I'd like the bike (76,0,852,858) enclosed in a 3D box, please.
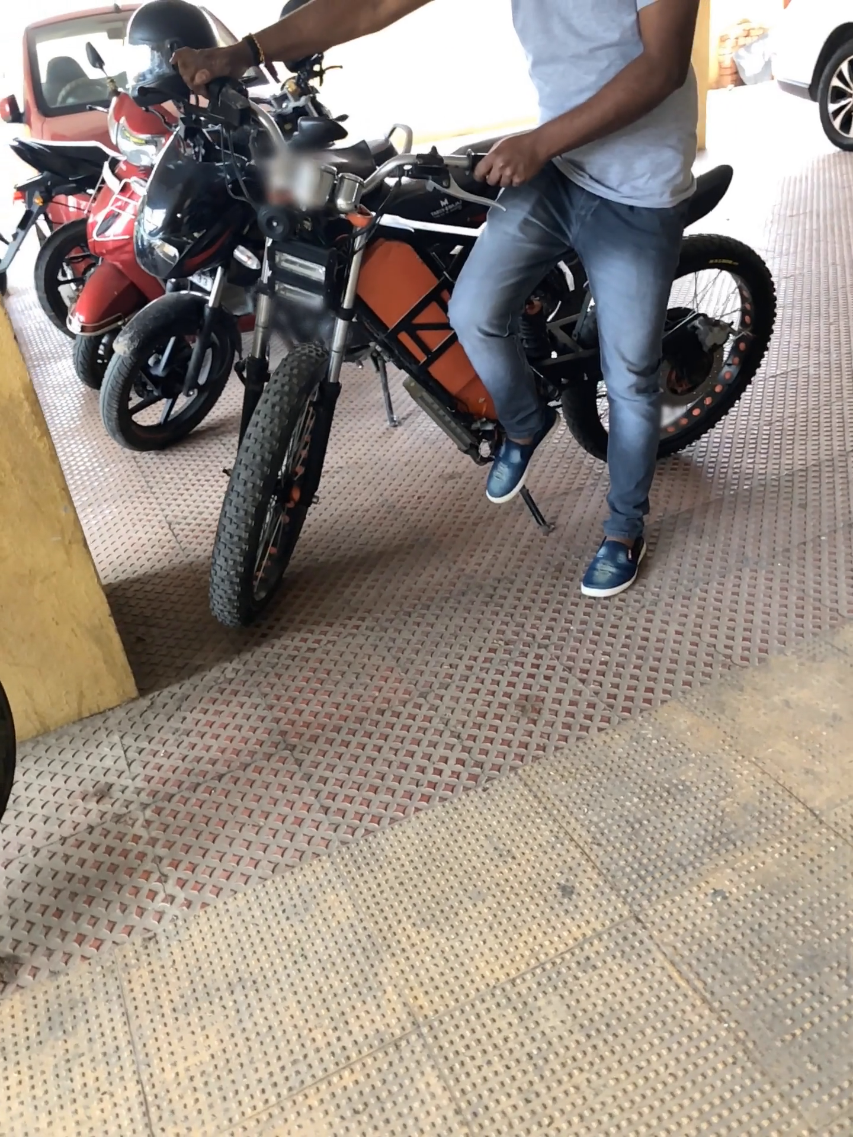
[{"bbox_3d":[0.278,-0.483,2.163,1.753,1.184,0.756,-27,35,-22],"label":"bike"}]
